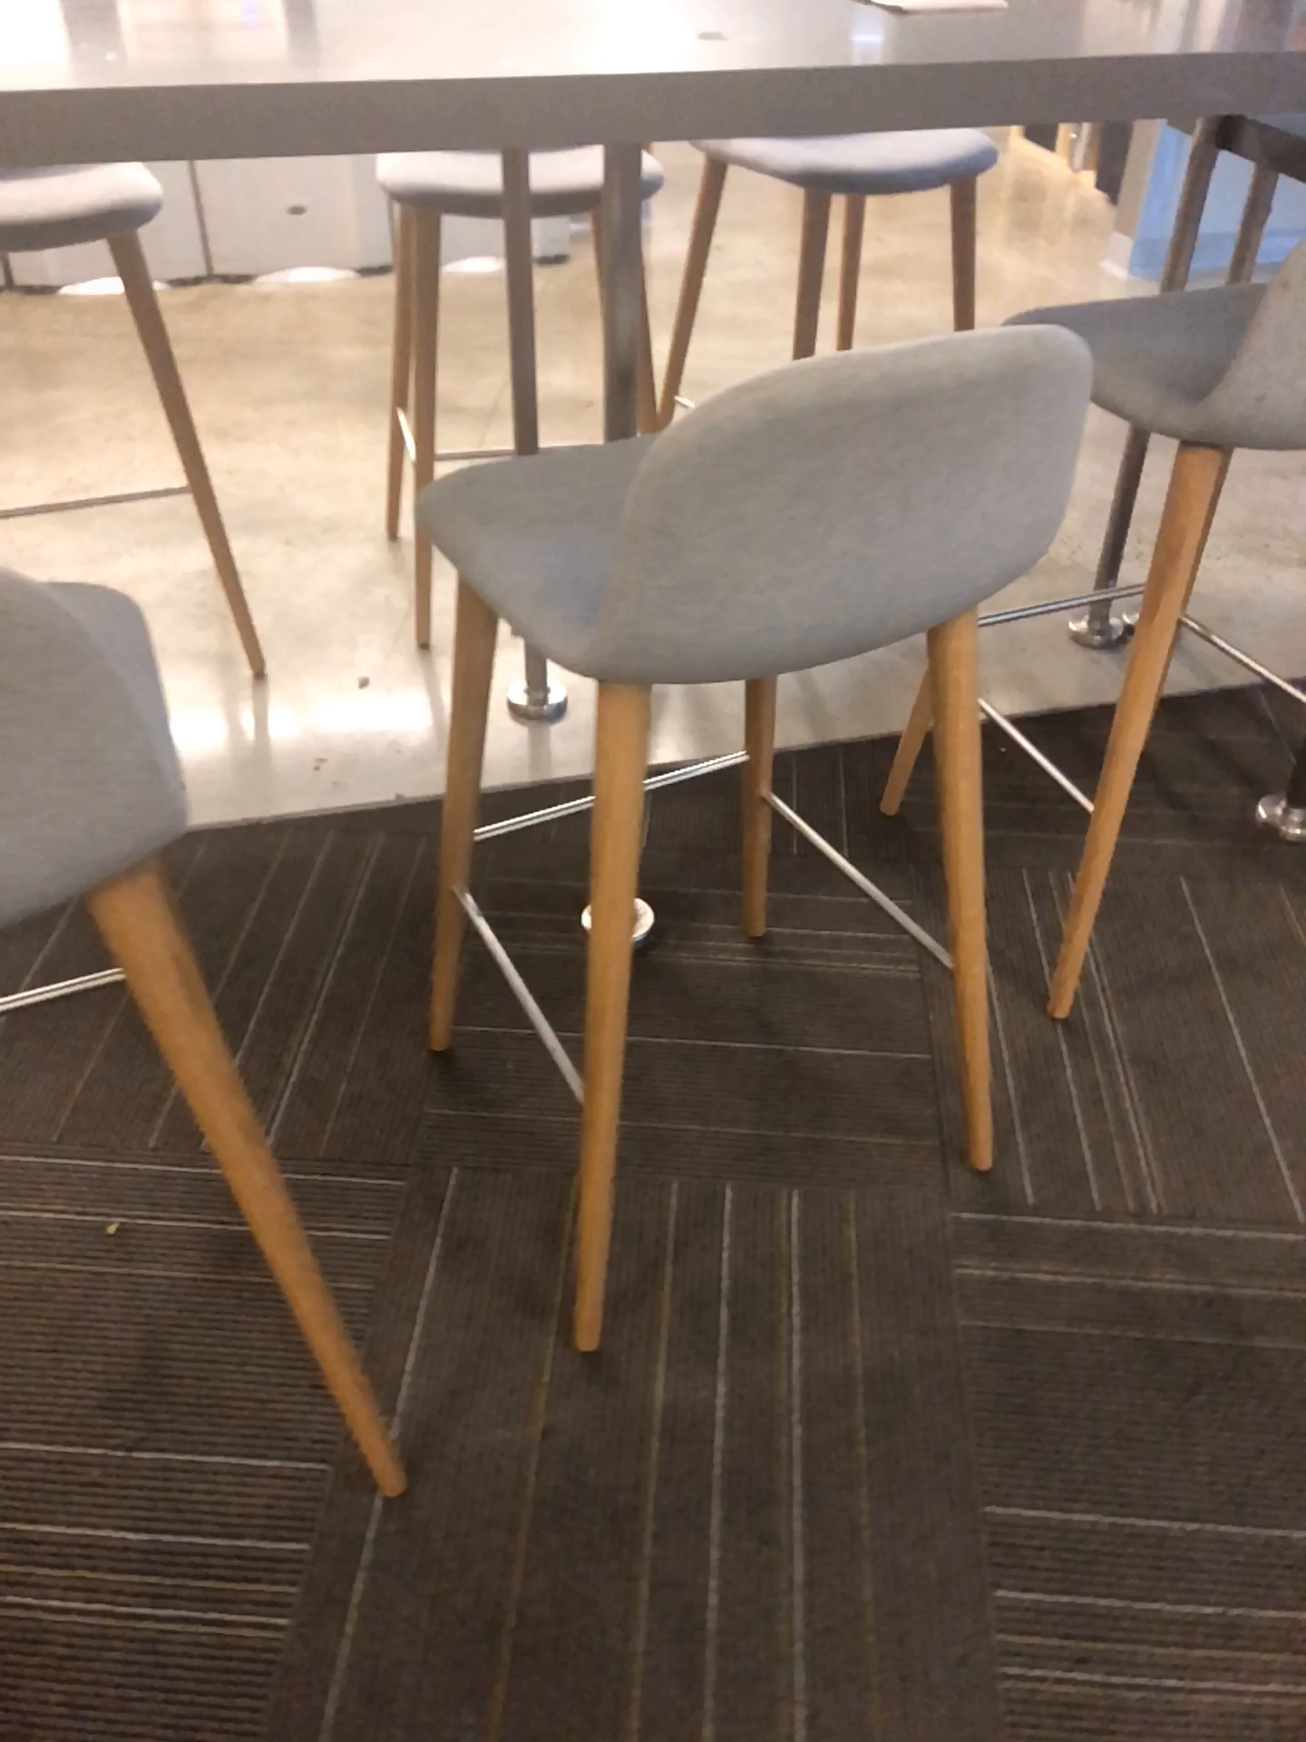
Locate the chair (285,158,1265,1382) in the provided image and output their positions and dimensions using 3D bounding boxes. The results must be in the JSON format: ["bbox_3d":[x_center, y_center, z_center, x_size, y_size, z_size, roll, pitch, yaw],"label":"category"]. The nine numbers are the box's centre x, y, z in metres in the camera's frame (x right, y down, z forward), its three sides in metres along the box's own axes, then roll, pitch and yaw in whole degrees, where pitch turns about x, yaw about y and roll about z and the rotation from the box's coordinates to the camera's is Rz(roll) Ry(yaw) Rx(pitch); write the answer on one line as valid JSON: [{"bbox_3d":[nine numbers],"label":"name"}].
[{"bbox_3d":[0.060,-0.104,1.403,0.572,0.942,0.543,-16,40,-21],"label":"chair"}]

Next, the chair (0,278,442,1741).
[{"bbox_3d":[-0.561,0.137,1.107,0.572,0.942,0.543,-16,40,-21],"label":"chair"}]

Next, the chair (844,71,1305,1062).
[{"bbox_3d":[0.657,-0.377,1.823,0.541,1.031,0.543,-13,39,-18],"label":"chair"}]
